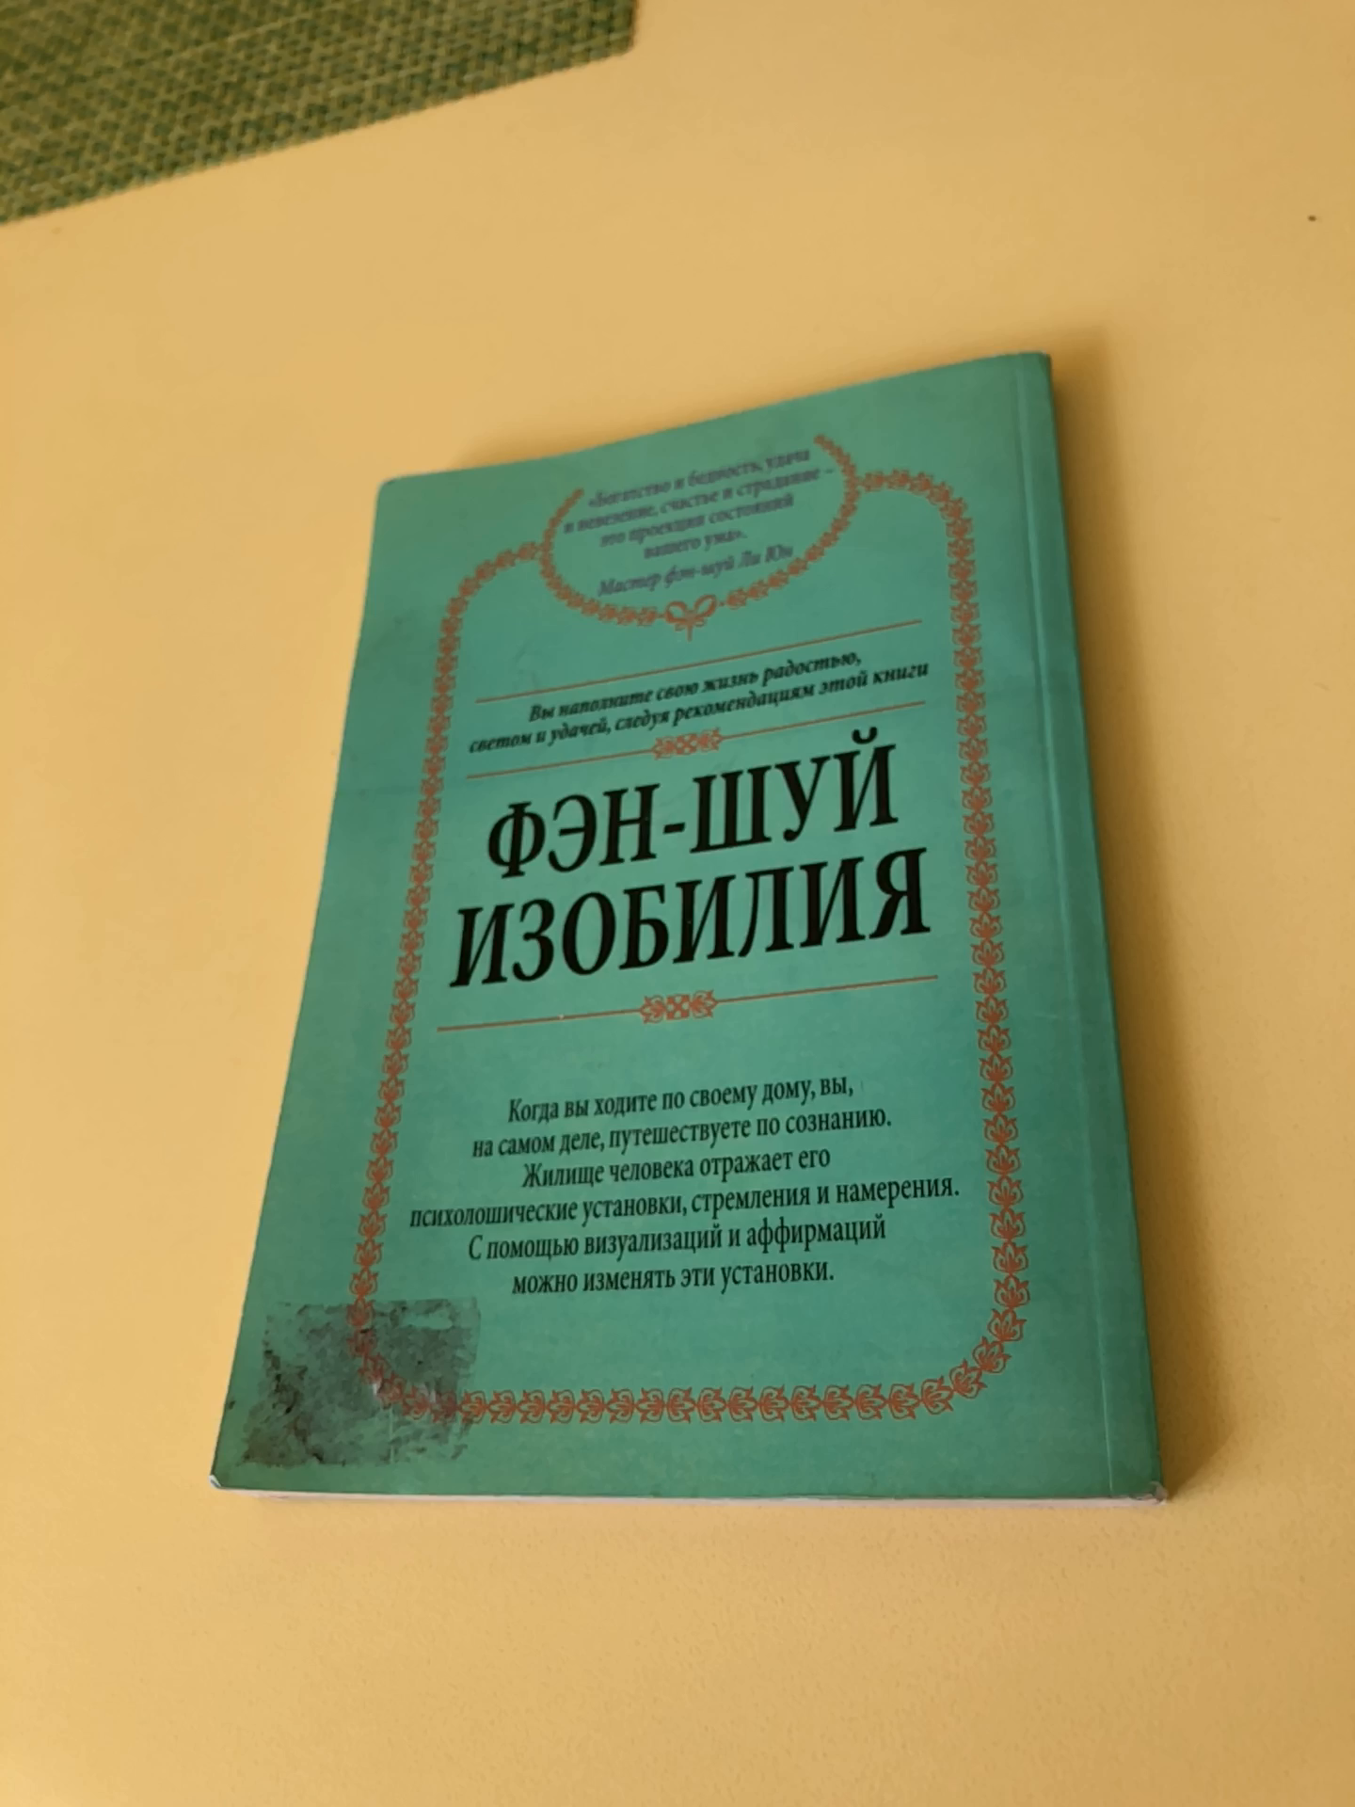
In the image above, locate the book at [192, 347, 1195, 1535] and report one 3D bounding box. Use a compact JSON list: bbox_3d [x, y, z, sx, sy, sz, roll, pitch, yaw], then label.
[{"bbox_3d":[0.002,-0.001,0.218,0.118,0.020,0.167,-7,61,17],"label":"book"}]
